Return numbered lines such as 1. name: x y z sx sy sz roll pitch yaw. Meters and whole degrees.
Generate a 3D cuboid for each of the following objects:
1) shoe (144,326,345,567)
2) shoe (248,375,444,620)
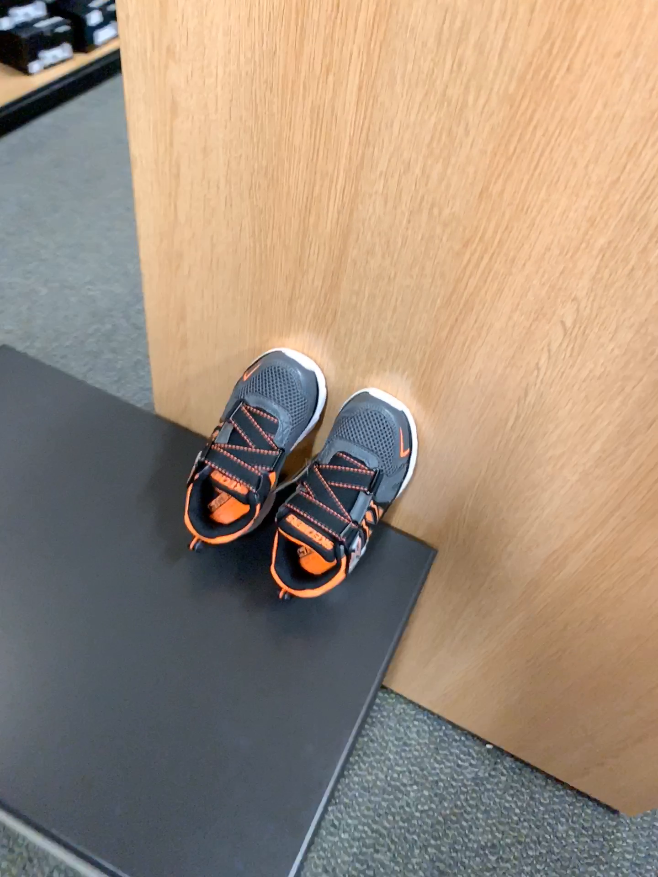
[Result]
1. shoe: -0.074 0.002 0.611 0.090 0.180 0.100 27 18 12
2. shoe: 0.017 0.049 0.615 0.090 0.180 0.100 27 18 12
